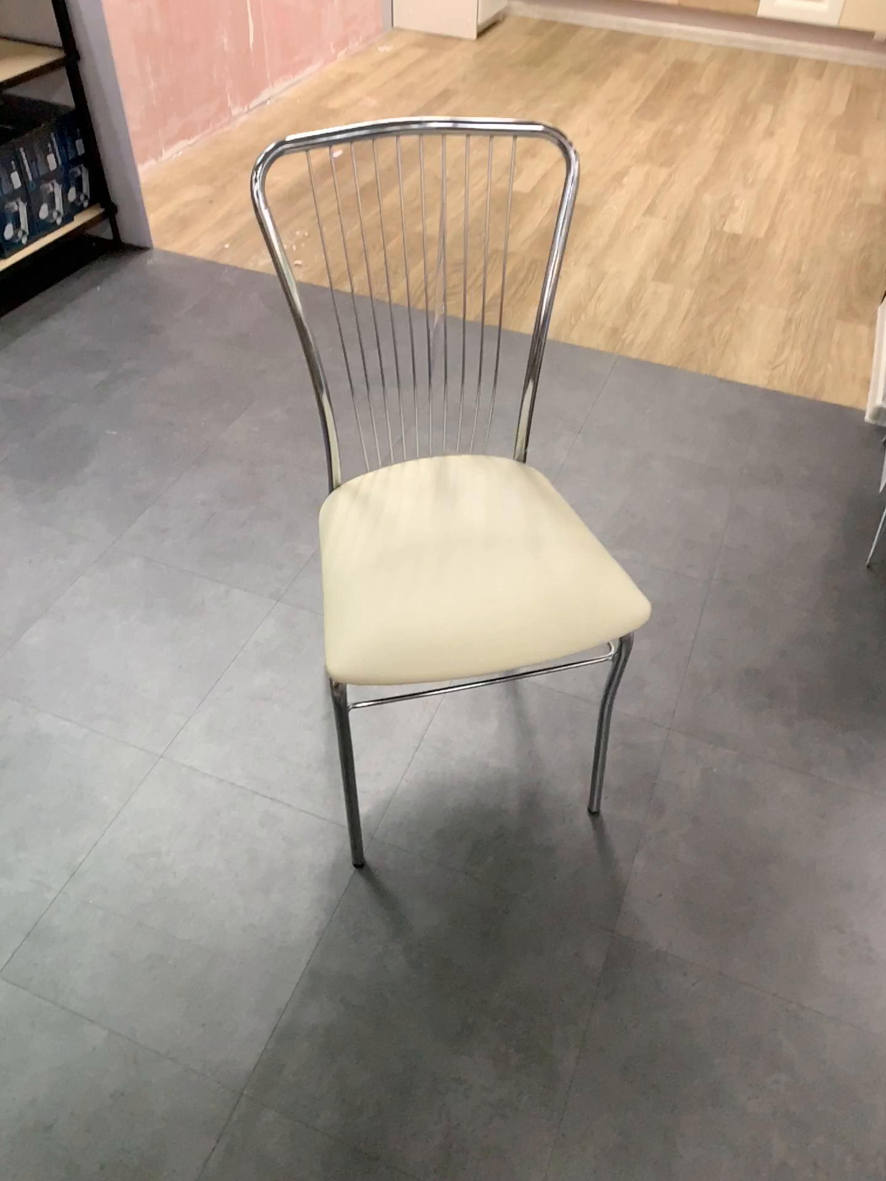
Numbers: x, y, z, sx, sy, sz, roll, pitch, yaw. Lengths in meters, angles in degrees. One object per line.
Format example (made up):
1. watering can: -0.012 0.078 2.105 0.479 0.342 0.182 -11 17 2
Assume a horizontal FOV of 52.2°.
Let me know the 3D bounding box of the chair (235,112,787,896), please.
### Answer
1. chair: 0.013 -0.079 1.327 0.472 0.965 0.555 -8 46 -10
